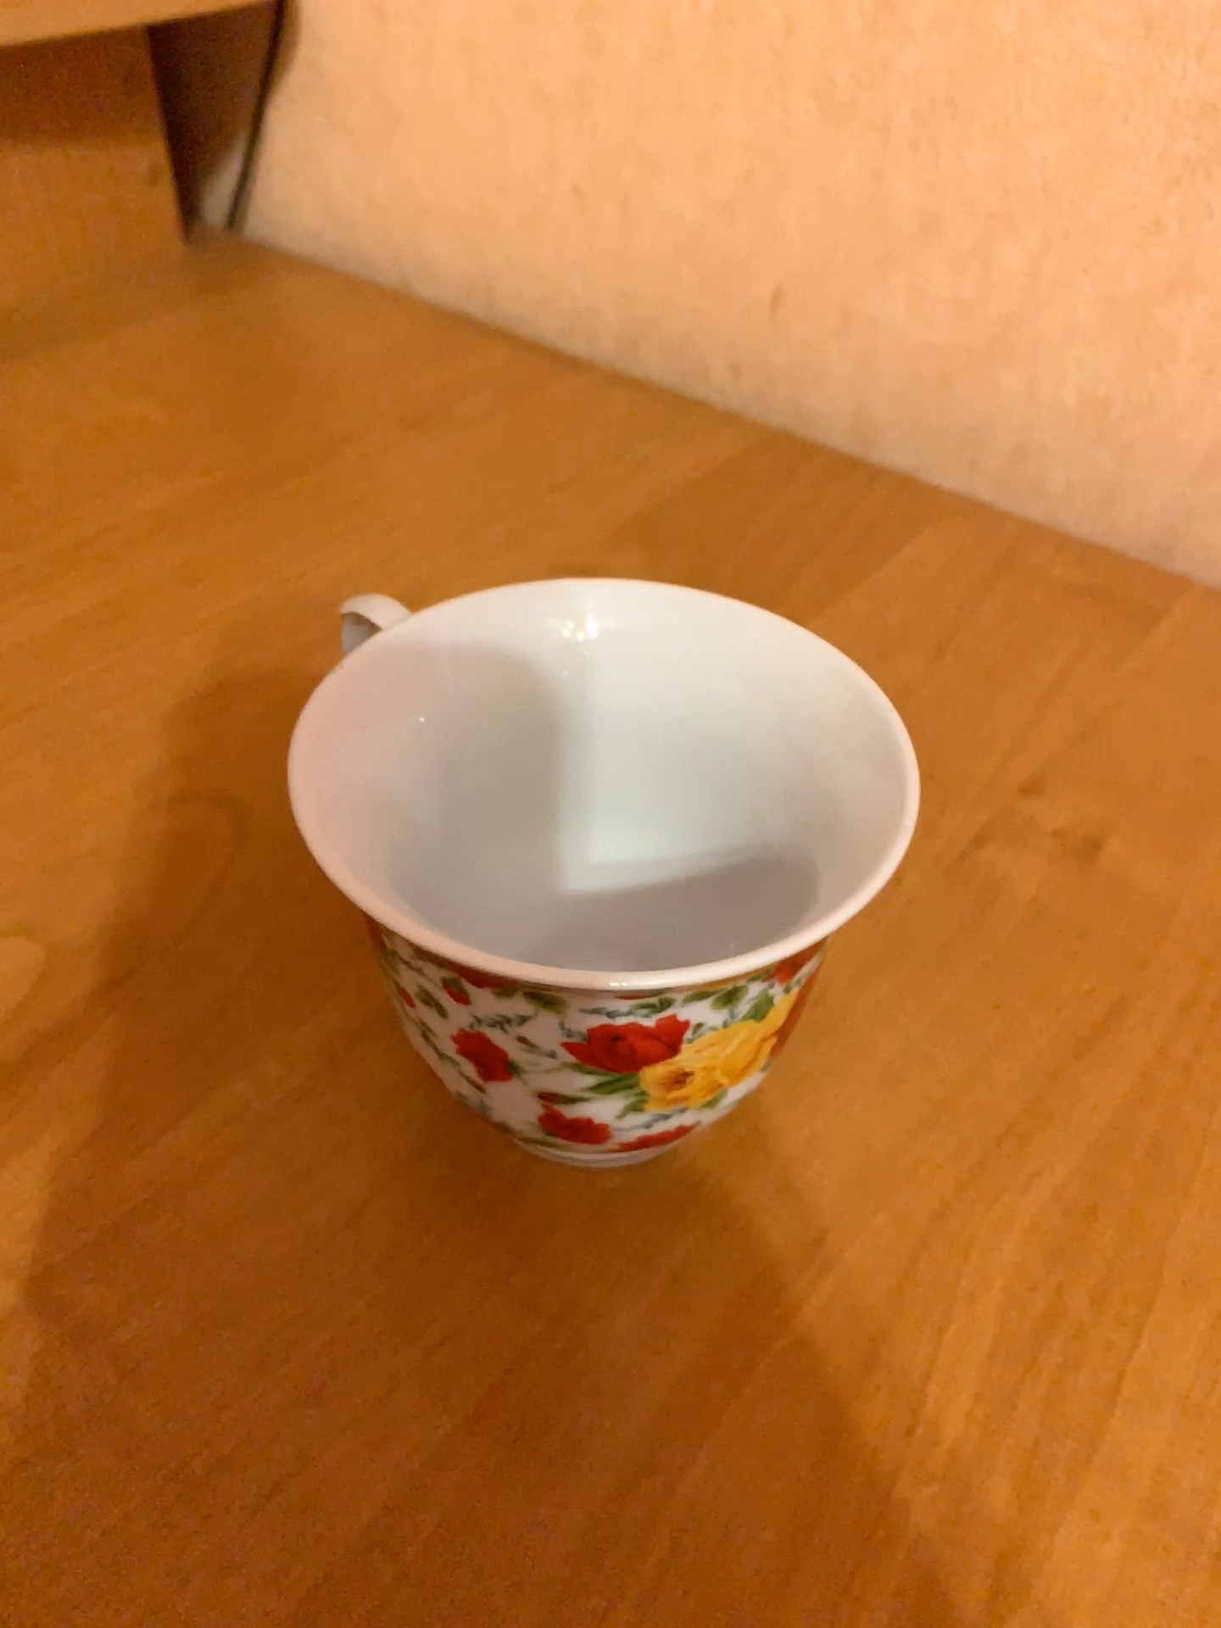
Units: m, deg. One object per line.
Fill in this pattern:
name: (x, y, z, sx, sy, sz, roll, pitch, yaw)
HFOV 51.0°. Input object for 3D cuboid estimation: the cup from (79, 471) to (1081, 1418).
cup: (-0.009, 0.009, 0.218, 0.100, 0.067, 0.120, -30, 51, -31)
